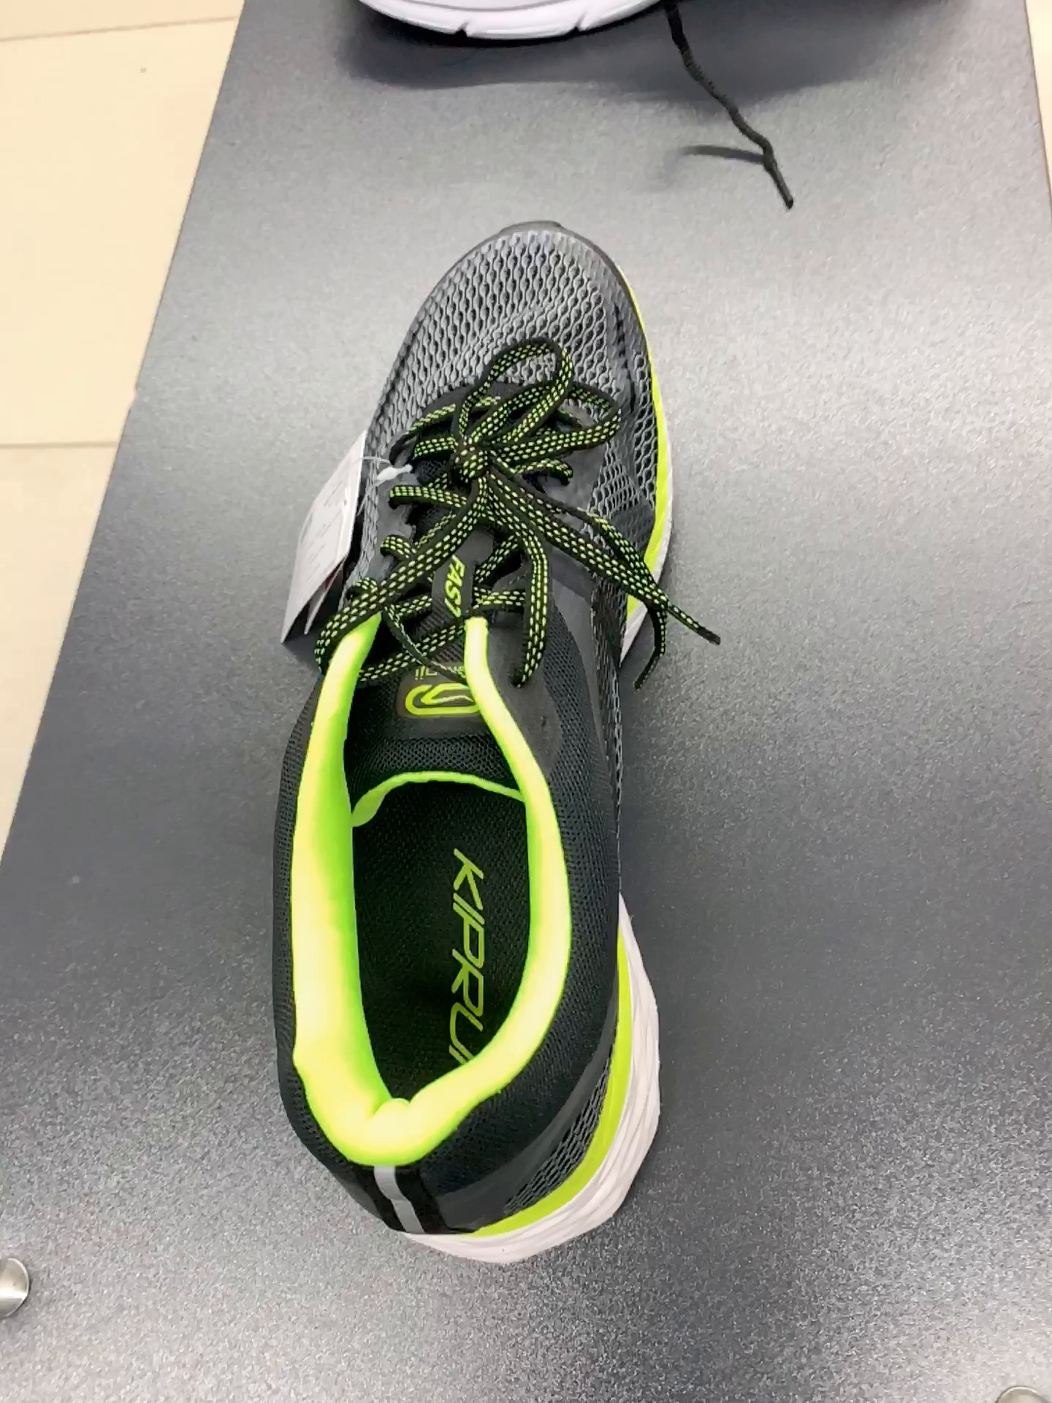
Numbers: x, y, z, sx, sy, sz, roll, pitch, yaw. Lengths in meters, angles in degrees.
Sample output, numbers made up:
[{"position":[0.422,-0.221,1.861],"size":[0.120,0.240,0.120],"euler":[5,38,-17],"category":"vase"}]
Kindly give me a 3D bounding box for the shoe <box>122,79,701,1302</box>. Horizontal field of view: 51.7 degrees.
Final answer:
[{"position":[-0.007,-0.014,0.311],"size":[0.110,0.110,0.310],"euler":[-1,67,10],"category":"shoe"}]
